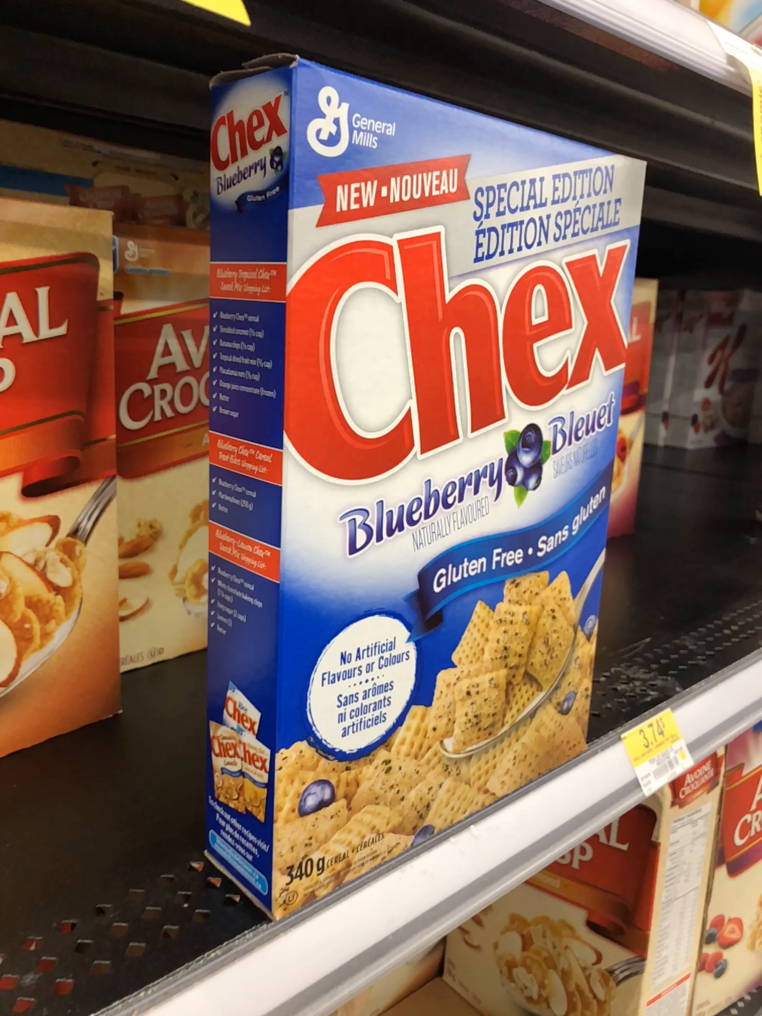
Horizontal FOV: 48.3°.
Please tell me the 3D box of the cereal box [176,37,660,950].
[{"bbox_3d":[0.021,-0.006,0.352,0.200,0.289,0.060,-9,16,-42],"label":"cereal box"}]
